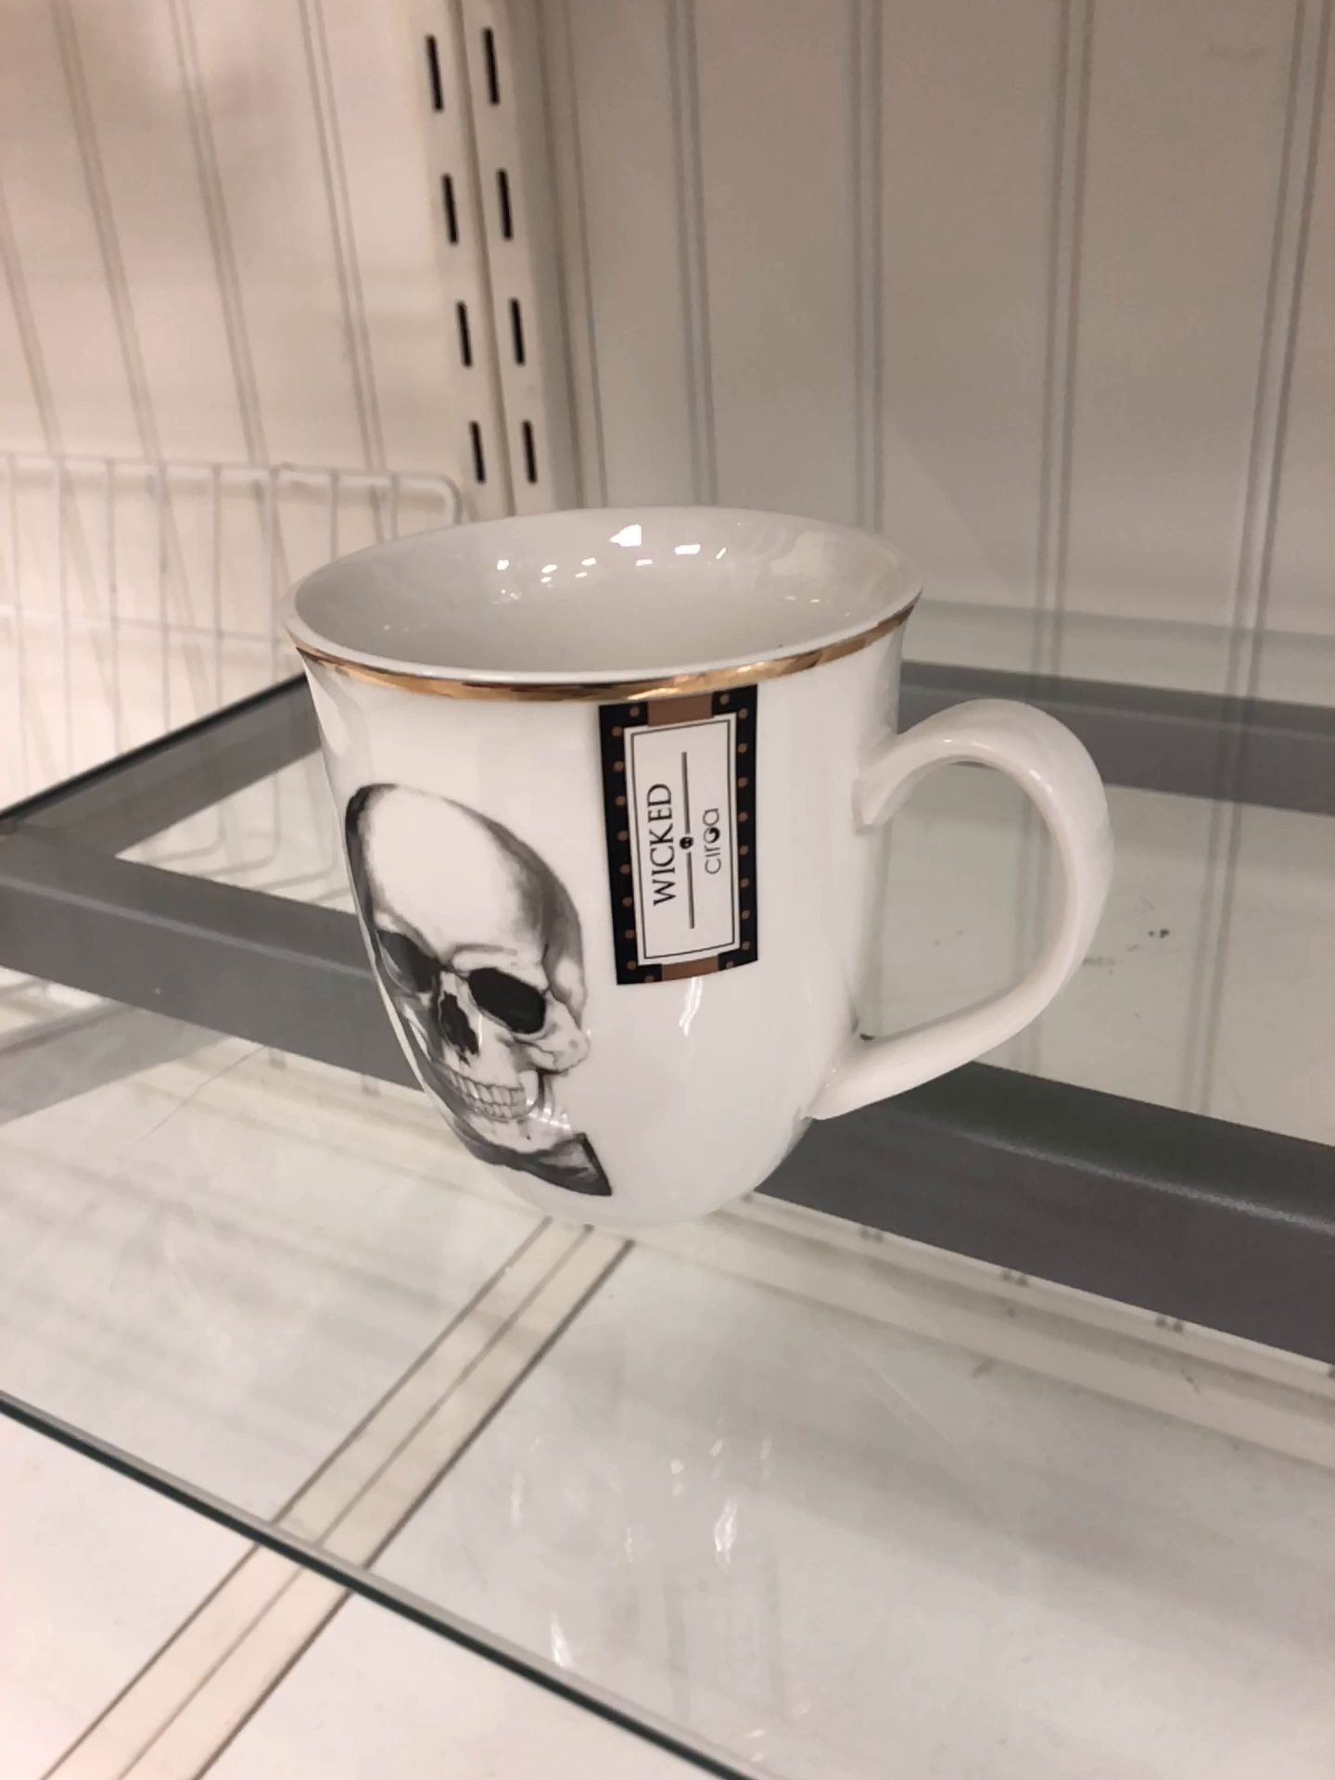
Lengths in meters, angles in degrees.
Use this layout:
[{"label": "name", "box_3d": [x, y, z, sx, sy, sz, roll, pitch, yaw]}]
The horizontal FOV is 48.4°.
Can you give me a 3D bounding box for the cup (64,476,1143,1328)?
[{"label": "cup", "box_3d": [0.001, -0.010, 0.232, 0.131, 0.088, 0.095, 5, 27, 18]}]
